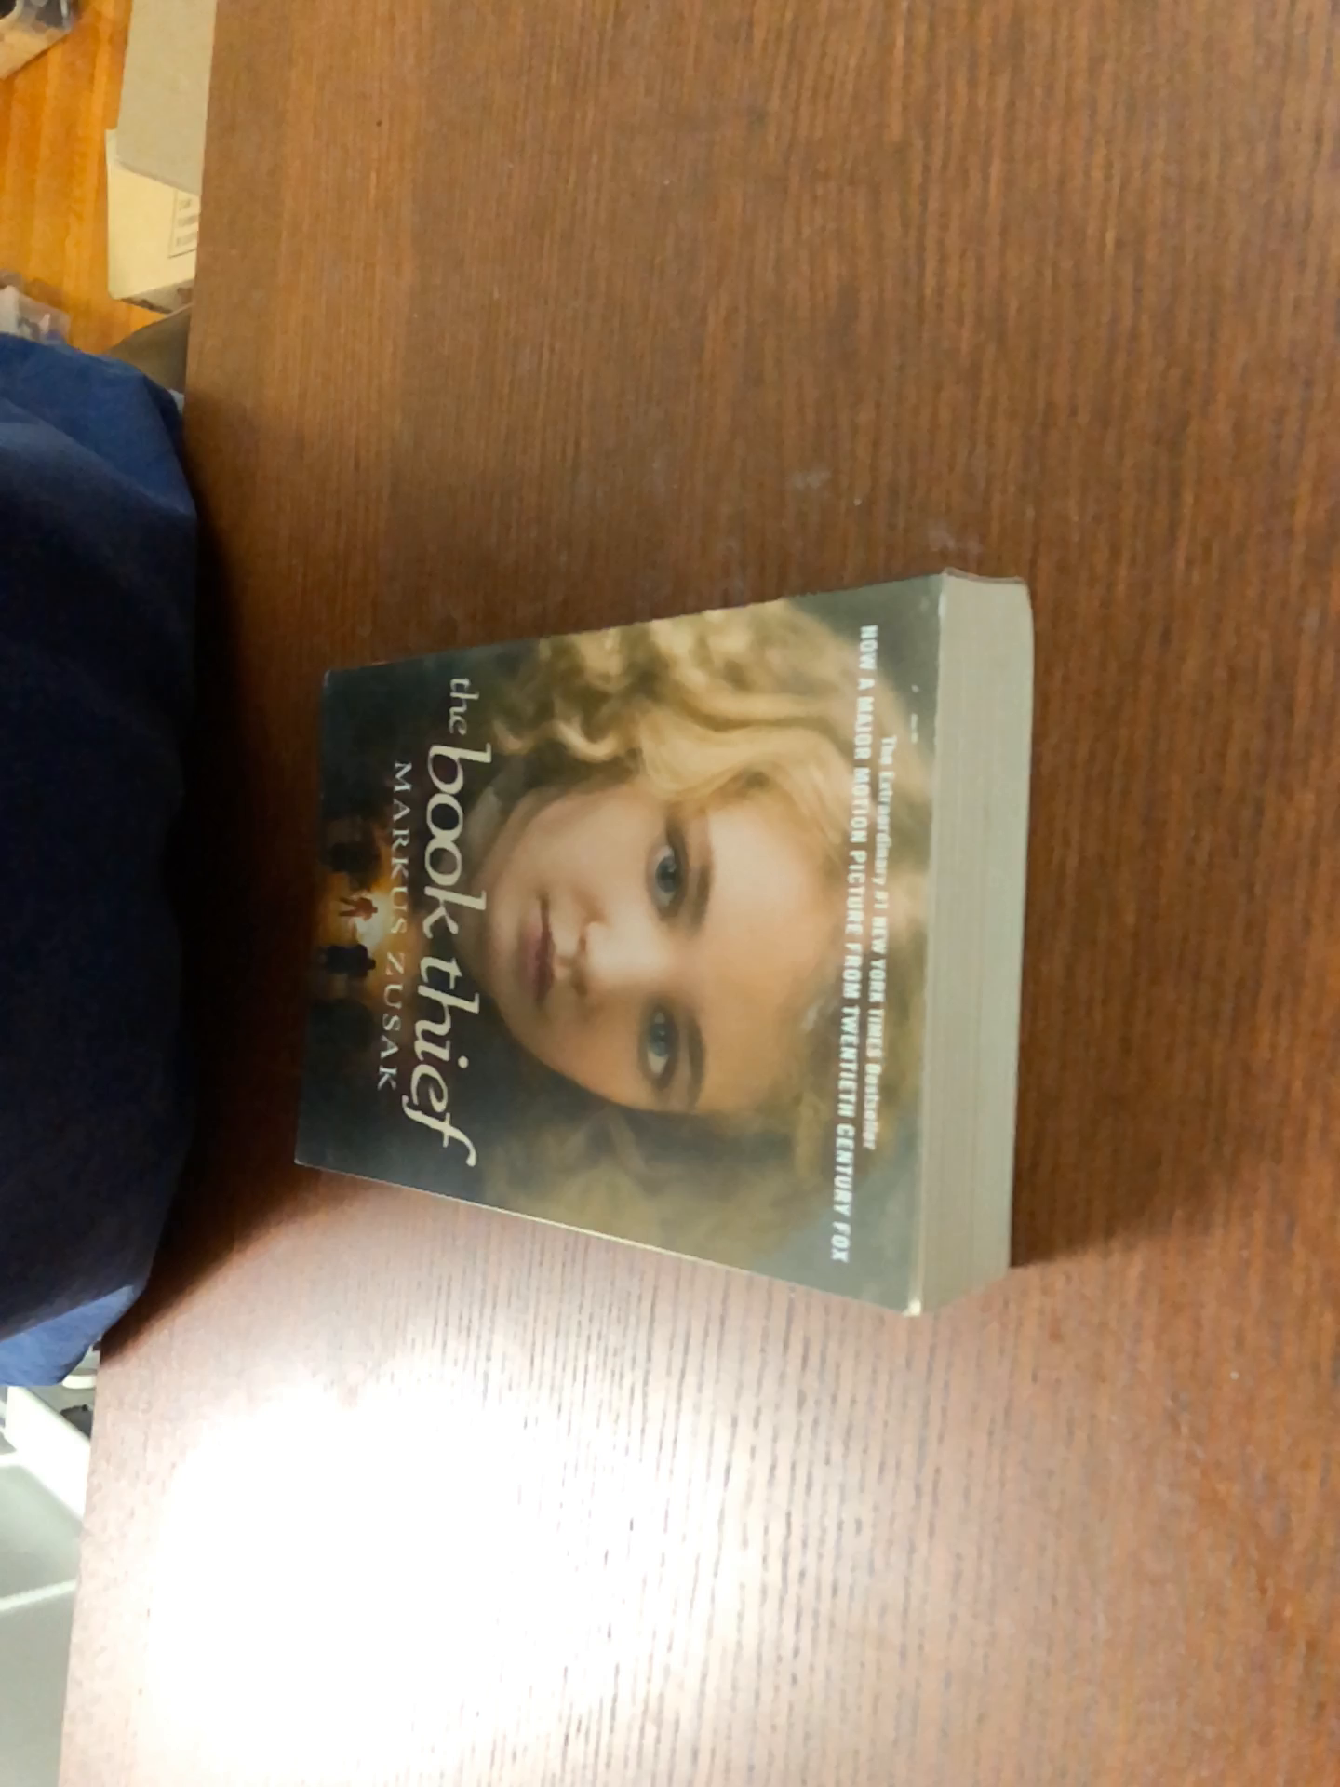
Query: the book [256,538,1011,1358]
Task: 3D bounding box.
[{"bbox_3d":[-0.026,0.007,0.358,0.221,0.030,0.150,2,88,45],"label":"book"}]
